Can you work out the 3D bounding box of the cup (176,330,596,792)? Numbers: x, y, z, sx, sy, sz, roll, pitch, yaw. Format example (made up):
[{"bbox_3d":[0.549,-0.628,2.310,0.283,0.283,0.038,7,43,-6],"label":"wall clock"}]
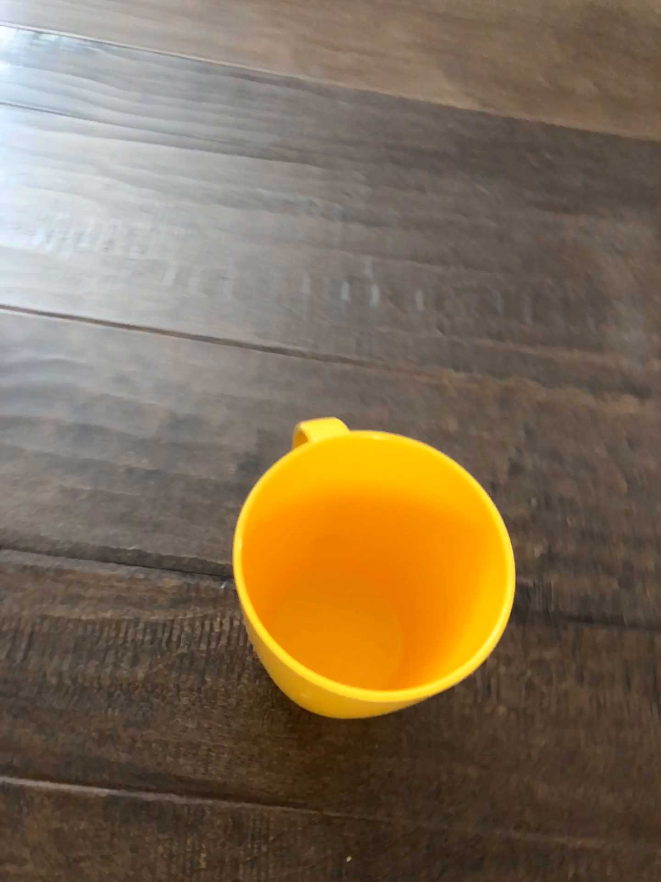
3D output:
[{"bbox_3d":[0.007,0.043,0.265,0.090,0.099,0.110,-17,61,-19],"label":"cup"}]
